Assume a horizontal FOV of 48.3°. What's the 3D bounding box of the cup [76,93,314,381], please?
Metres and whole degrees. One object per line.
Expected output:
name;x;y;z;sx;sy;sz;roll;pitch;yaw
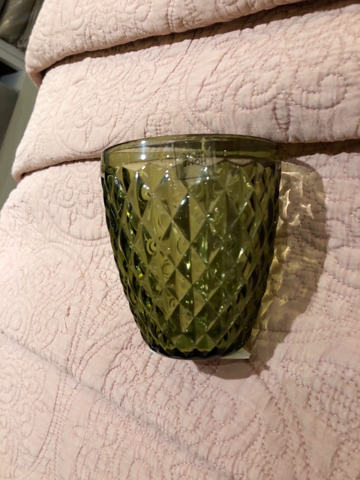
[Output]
cup;0.007;-0.004;0.191;0.080;0.070;0.100;1;98;44
